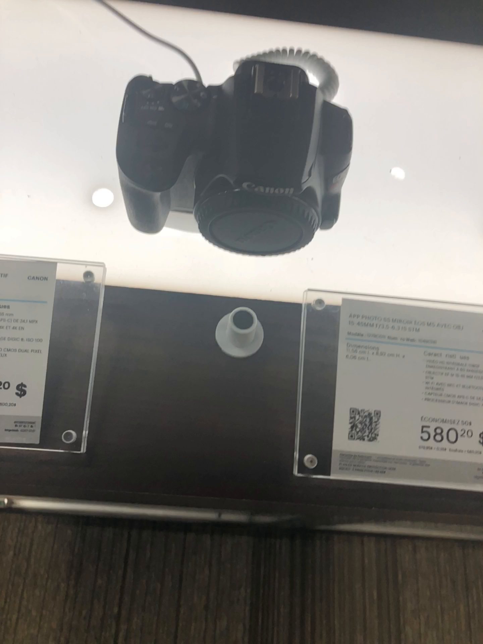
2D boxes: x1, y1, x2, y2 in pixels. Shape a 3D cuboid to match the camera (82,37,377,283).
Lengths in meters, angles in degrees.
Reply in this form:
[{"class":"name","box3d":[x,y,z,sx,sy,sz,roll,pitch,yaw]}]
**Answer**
[{"class":"camera","box3d":[-0.005,-0.077,0.271,0.123,0.071,0.080,5,67,-4]}]
